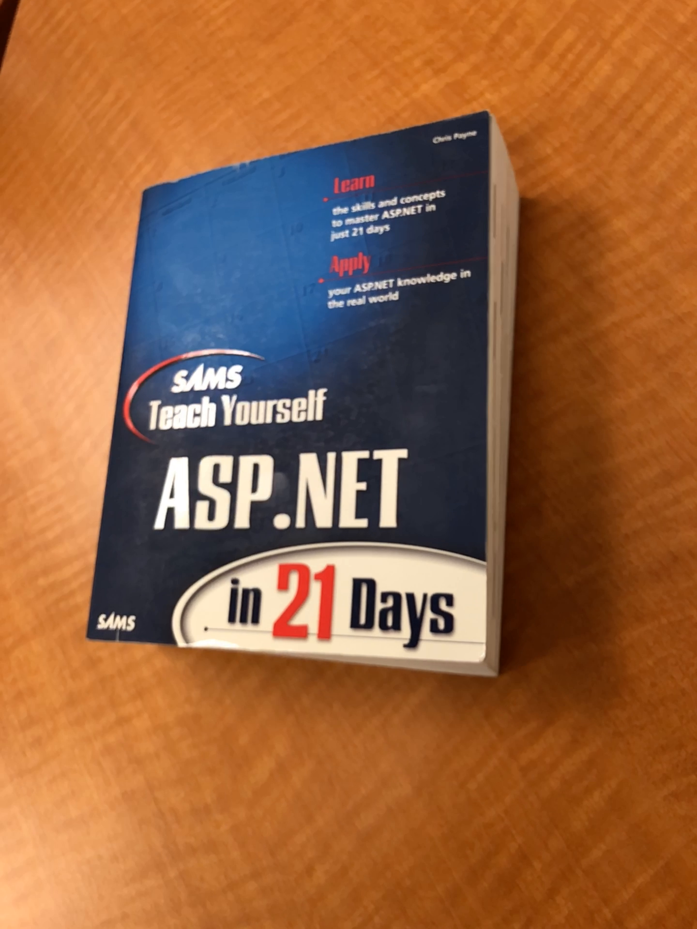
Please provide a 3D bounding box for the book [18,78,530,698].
[{"bbox_3d":[-0.029,-0.031,0.358,0.201,0.070,0.240,1,78,22],"label":"book"}]
